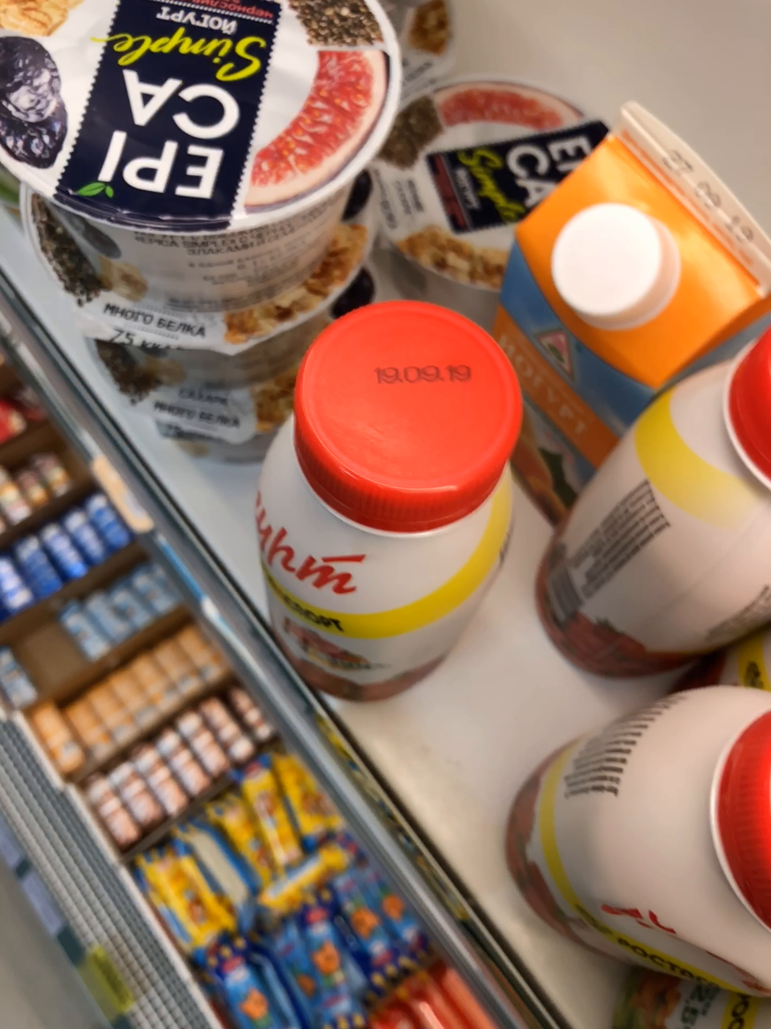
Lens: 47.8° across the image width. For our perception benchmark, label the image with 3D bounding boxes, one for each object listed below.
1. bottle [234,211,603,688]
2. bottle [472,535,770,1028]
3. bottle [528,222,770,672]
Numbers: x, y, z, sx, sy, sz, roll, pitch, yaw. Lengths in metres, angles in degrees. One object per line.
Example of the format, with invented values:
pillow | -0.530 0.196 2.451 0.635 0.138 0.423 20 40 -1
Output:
bottle | 0.000 -0.001 0.219 0.056 0.147 0.058 1 69 -3
bottle | 0.069 0.066 0.197 0.058 0.147 0.057 1 69 -3
bottle | 0.078 -0.002 0.224 0.052 0.147 0.055 1 69 -3
